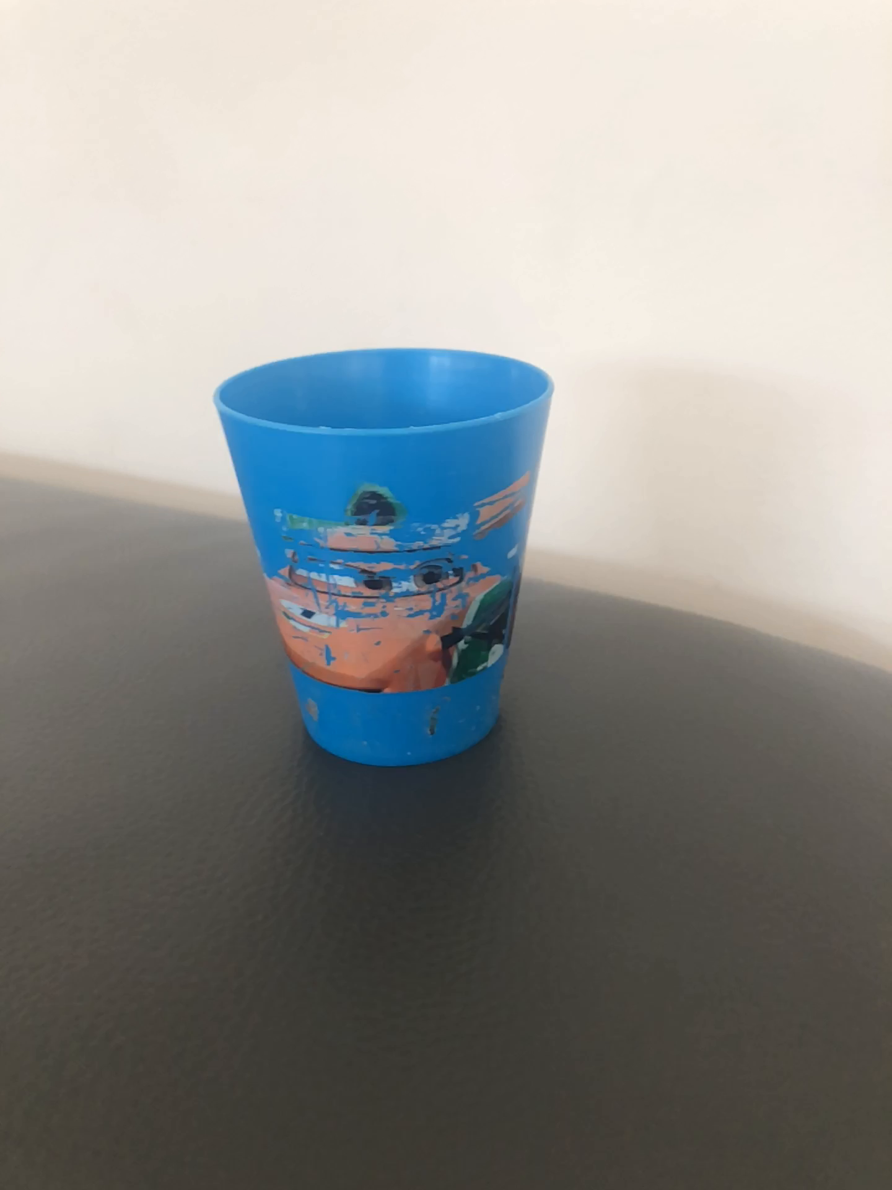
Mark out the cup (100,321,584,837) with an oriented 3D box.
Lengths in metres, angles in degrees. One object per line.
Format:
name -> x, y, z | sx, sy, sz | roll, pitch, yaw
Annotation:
cup -> -0.019, -0.011, 0.246 | 0.080, 0.089, 0.081 | -1, 27, 0
